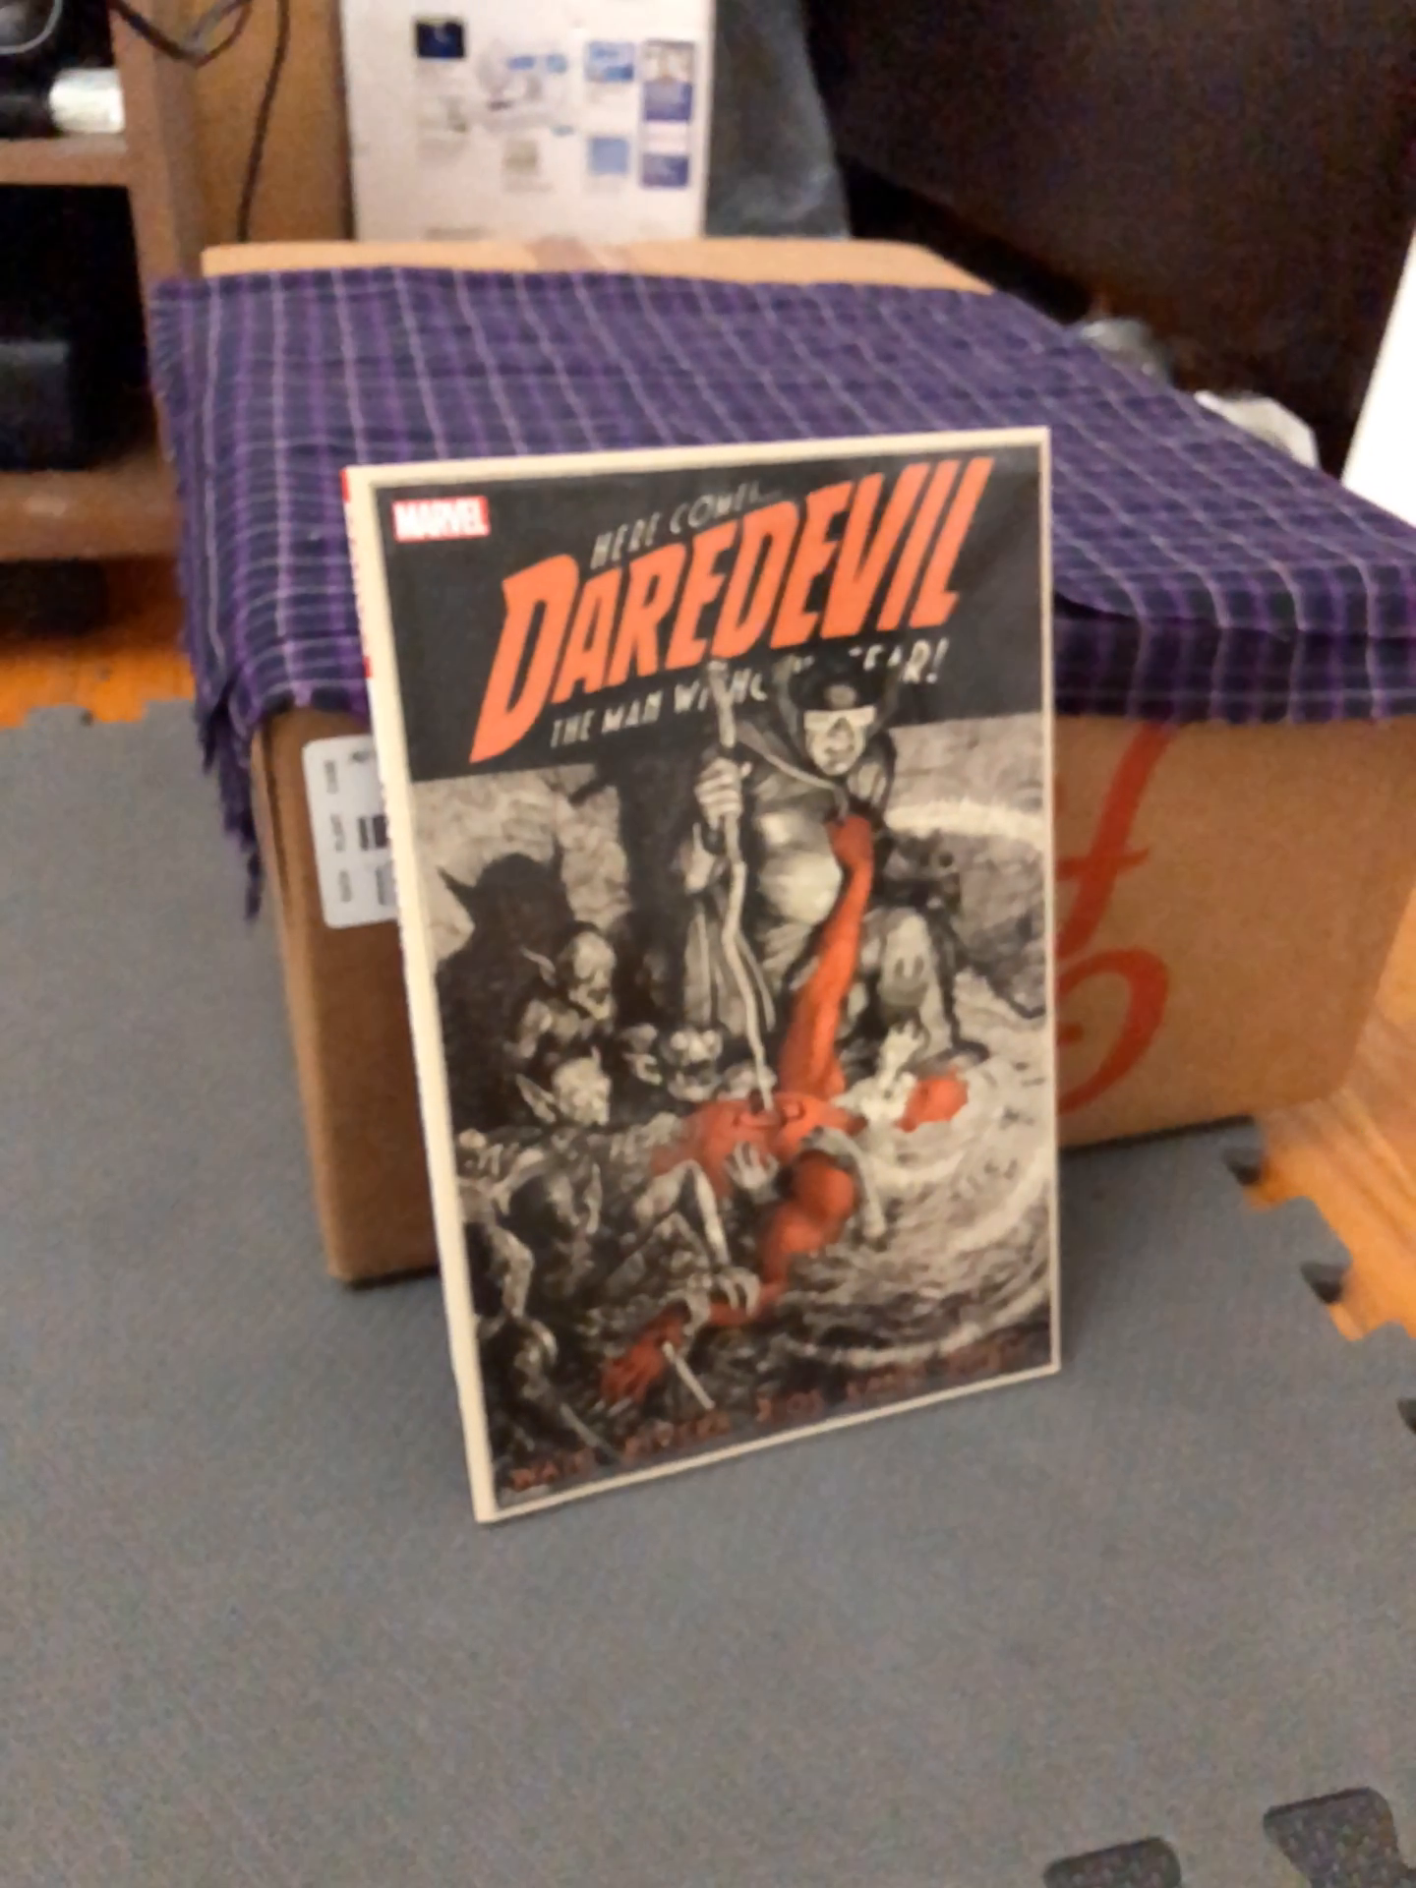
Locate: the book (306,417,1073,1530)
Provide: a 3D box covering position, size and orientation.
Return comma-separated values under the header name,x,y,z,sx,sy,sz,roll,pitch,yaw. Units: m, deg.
name,x,y,z,sx,sy,sz,roll,pitch,yaw
book,0.006,0.005,0.359,0.160,0.229,0.020,-9,15,-18
